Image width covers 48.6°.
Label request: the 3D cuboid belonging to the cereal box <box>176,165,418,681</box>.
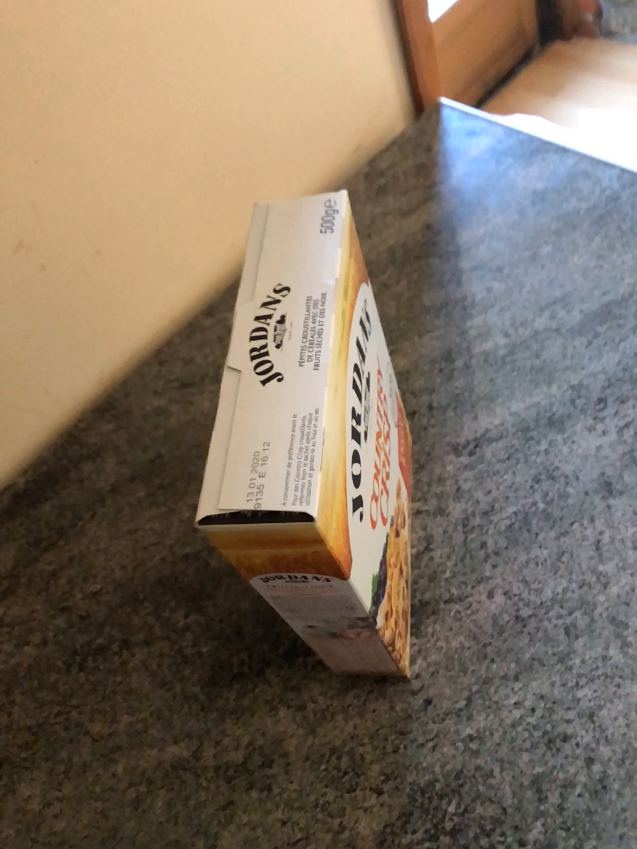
[{"bbox_3d":[0.011,0.019,0.410,0.060,0.249,0.191,-5,55,13],"label":"cereal box"}]
